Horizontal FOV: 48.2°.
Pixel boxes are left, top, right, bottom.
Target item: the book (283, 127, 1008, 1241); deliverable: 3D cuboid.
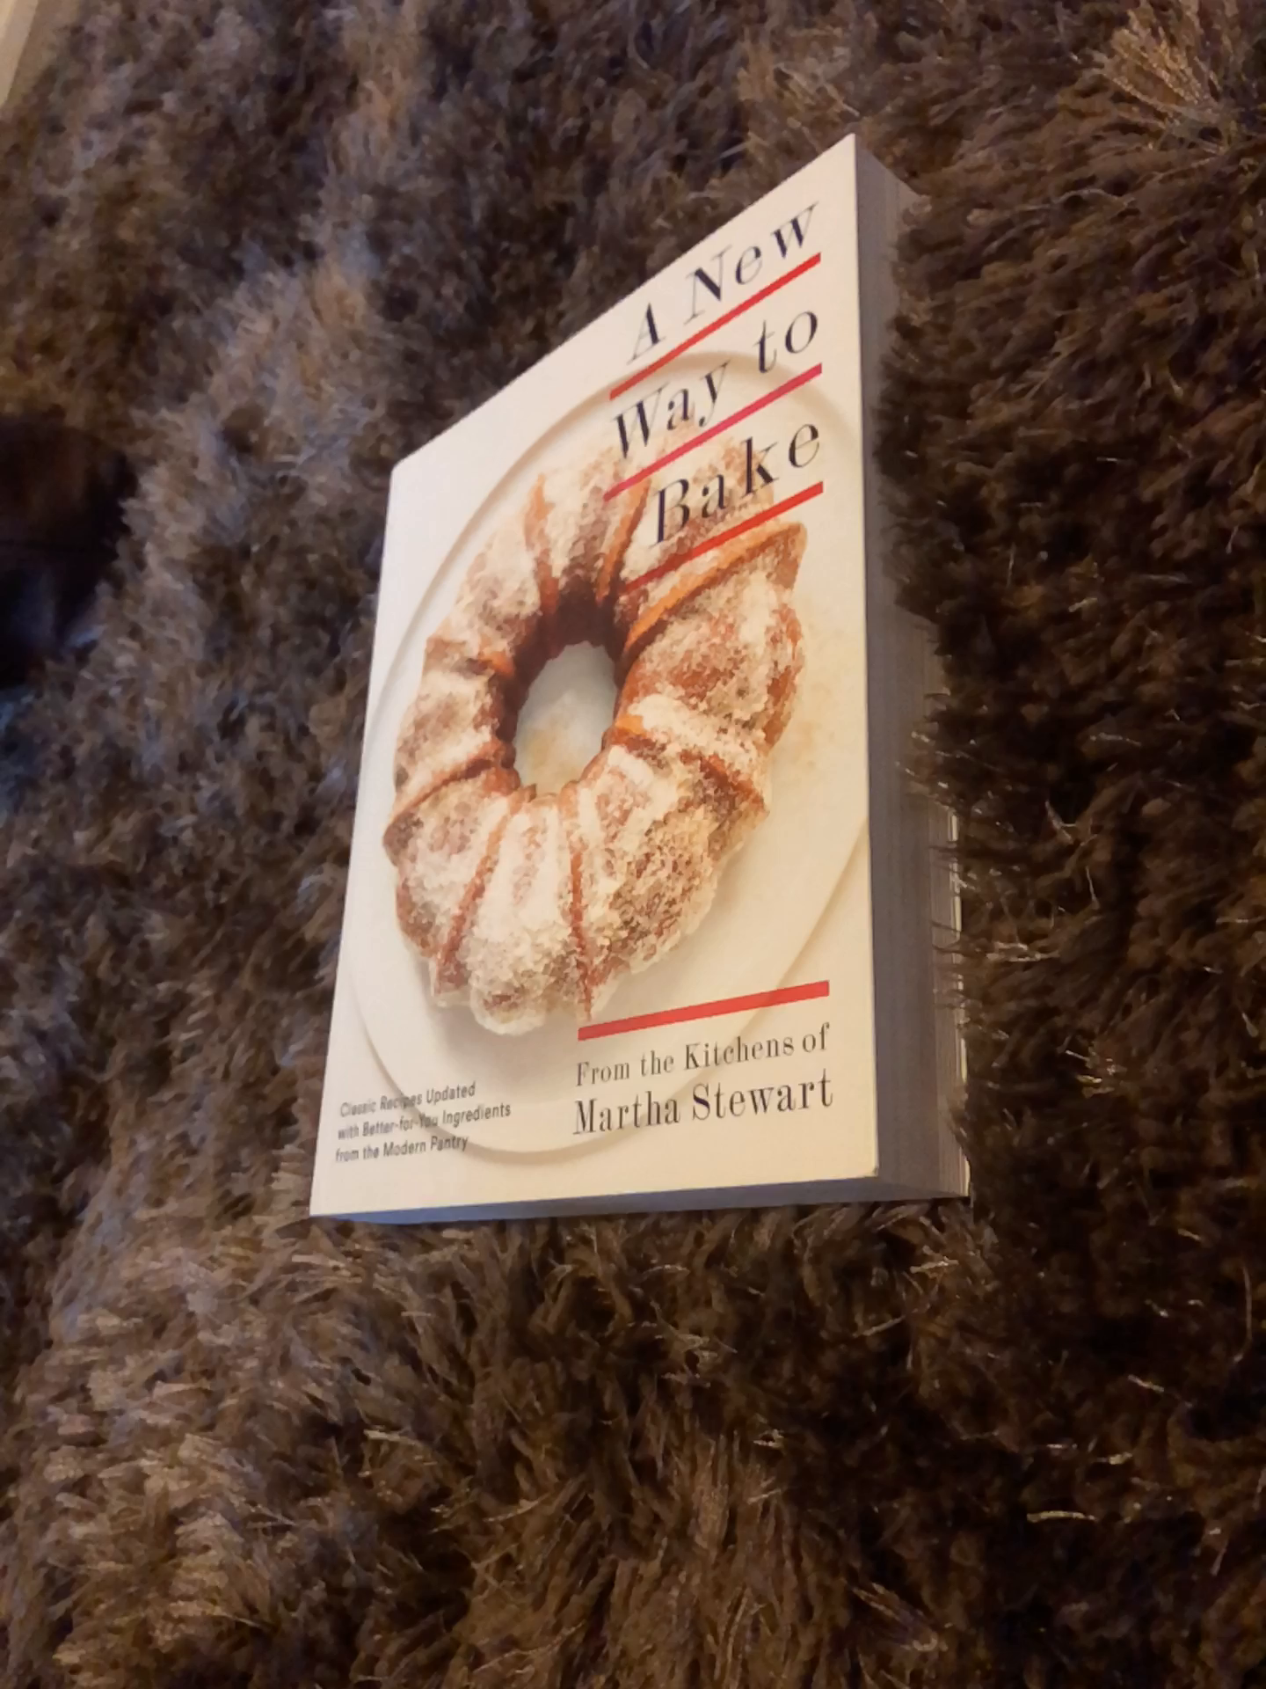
[{"bbox_3d":[-0.007,-0.024,0.354,0.193,0.040,0.229,-18,62,44],"label":"book"}]
